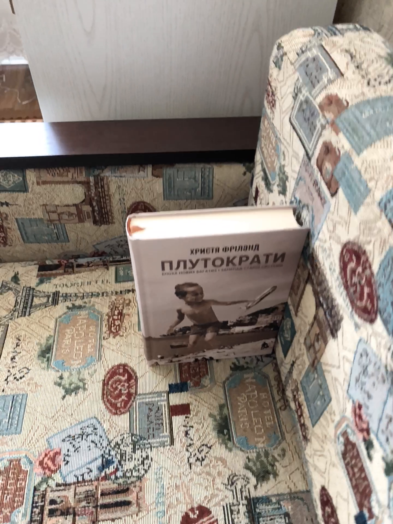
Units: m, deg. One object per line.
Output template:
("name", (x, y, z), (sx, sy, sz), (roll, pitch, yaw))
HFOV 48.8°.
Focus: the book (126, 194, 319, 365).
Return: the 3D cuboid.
("book", (0.018, 0.030, 0.442), (0.157, 0.215, 0.037), (-4, 50, -5))
